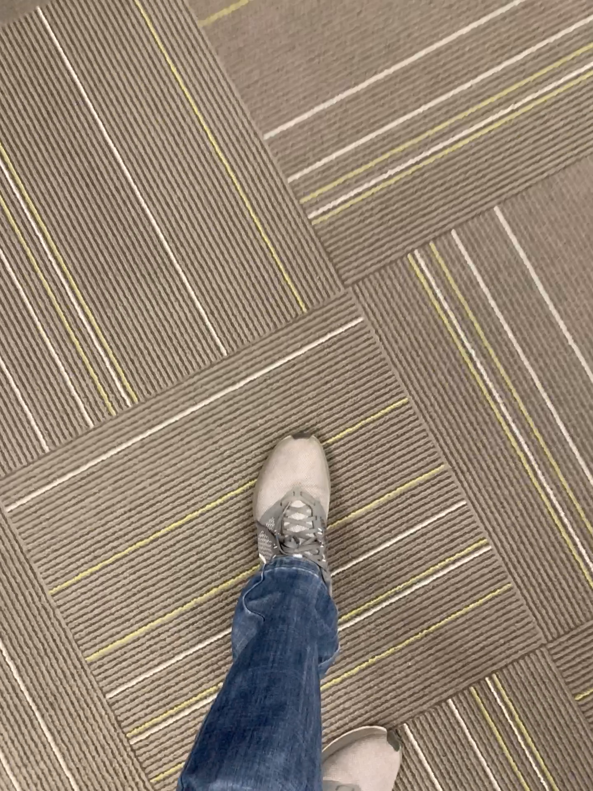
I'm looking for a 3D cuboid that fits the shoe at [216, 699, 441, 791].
[{"bbox_3d":[0.044,0.610,0.885,0.299,0.093,0.128,-42,88,-1],"label":"shoe"}]

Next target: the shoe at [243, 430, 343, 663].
[{"bbox_3d":[-0.004,0.209,0.887,0.131,0.093,0.313,1,88,0],"label":"shoe"}]
